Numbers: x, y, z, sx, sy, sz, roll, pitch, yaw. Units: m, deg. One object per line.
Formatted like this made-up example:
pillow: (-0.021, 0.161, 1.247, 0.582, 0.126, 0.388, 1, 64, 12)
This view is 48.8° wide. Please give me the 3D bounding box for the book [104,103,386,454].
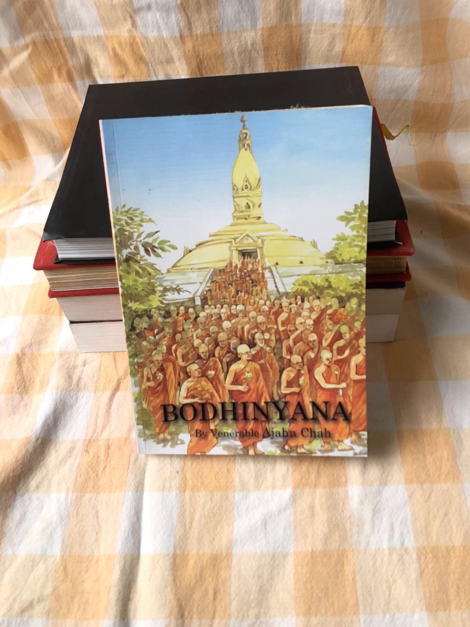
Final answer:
book: (0.007, -0.015, 0.313, 0.150, 0.200, 0.030, 0, 14, 6)
